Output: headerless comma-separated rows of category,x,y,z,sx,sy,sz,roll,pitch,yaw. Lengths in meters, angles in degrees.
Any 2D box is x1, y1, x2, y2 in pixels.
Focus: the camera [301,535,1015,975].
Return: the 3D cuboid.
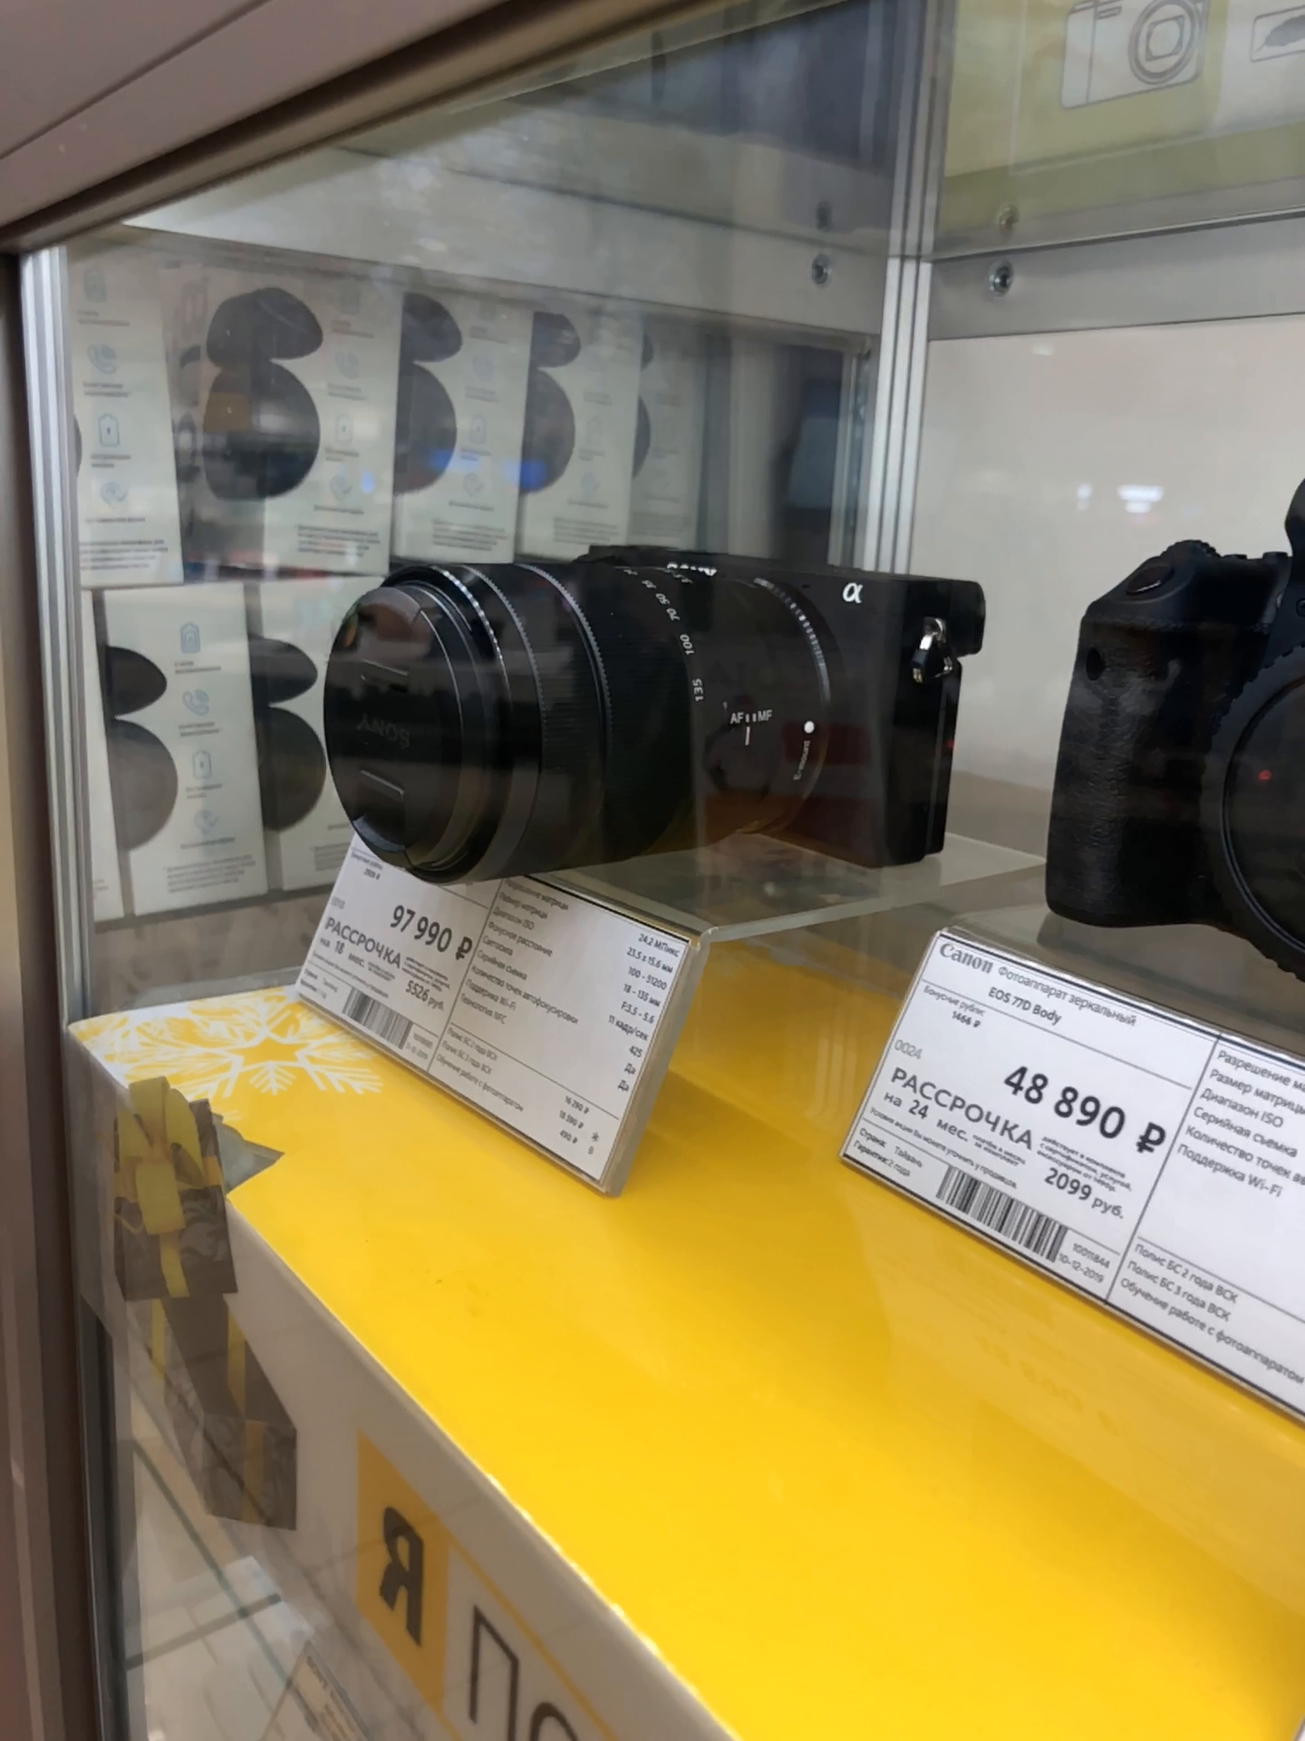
camera,-0.004,-0.039,0.364,0.123,0.080,0.130,-7,17,-34
